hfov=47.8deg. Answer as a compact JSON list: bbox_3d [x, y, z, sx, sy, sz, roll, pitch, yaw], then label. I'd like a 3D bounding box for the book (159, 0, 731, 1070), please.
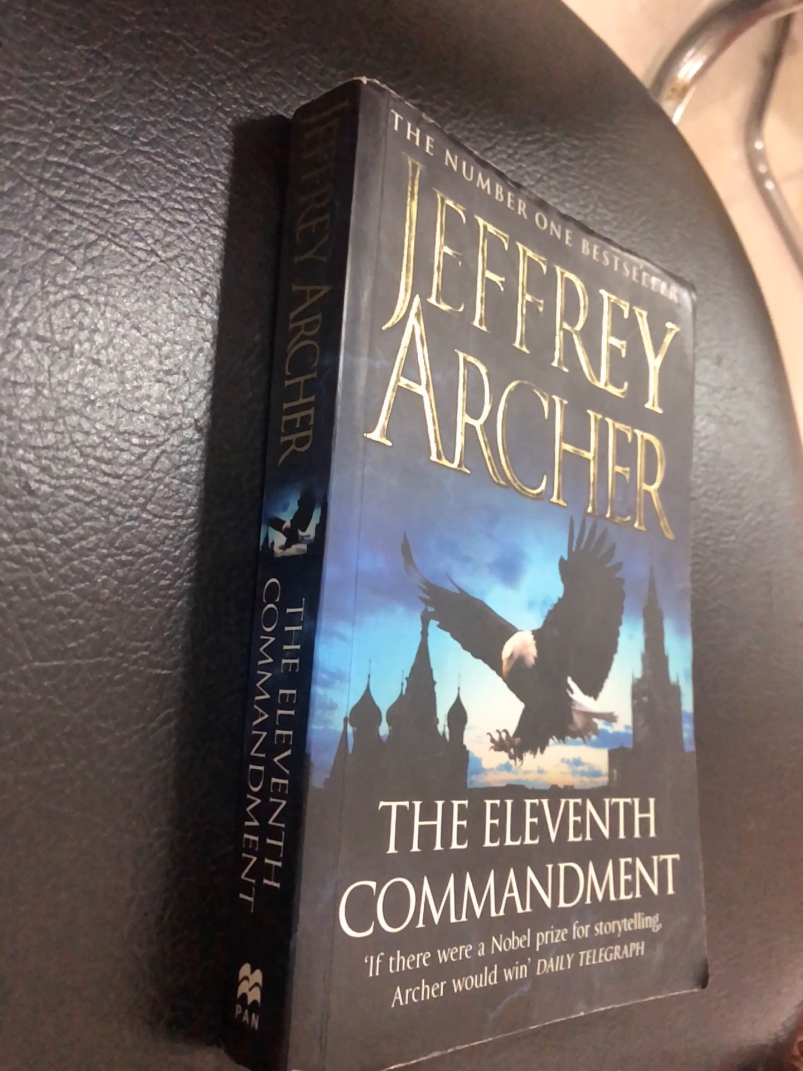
[{"bbox_3d":[0.026,0.001,0.208,0.131,0.040,0.200,15,74,-43],"label":"book"}]
